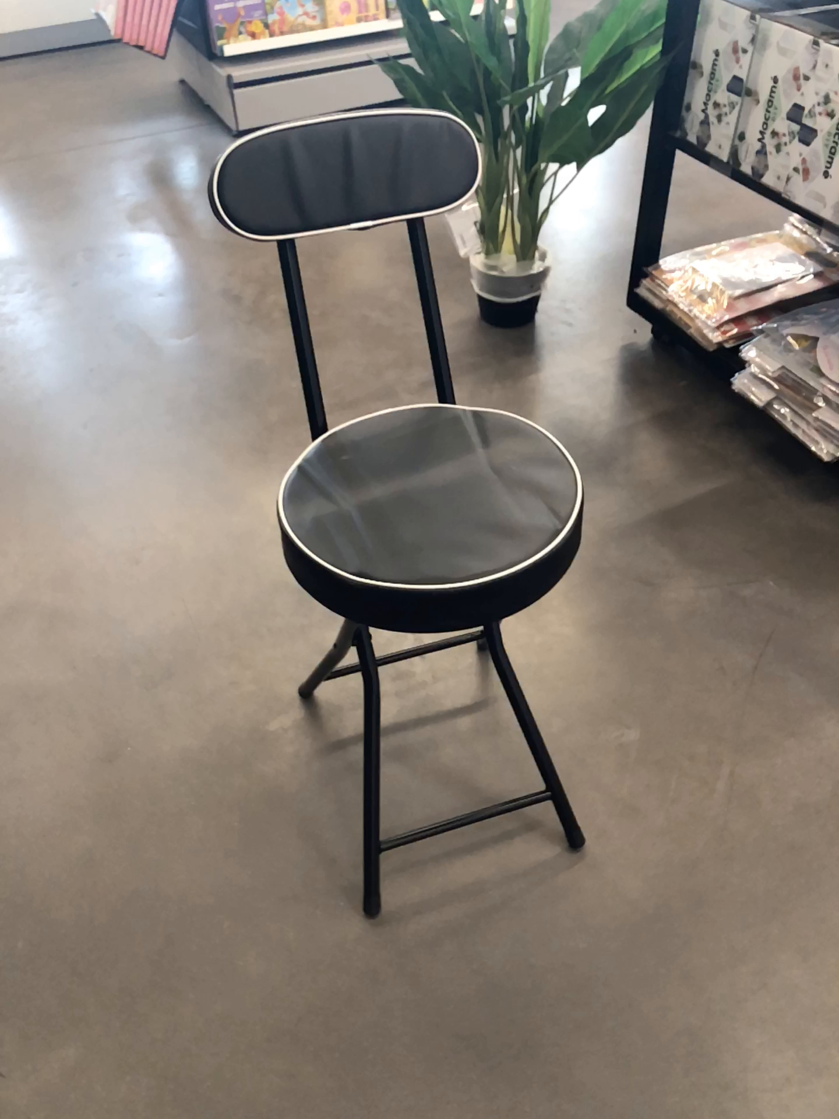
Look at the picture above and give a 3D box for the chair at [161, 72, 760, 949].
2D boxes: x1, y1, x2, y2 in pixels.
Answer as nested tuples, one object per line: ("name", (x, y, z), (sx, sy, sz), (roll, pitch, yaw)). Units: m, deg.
("chair", (-0.002, -0.032, 1.013), (0.341, 0.756, 0.512), (-13, 45, -12))
